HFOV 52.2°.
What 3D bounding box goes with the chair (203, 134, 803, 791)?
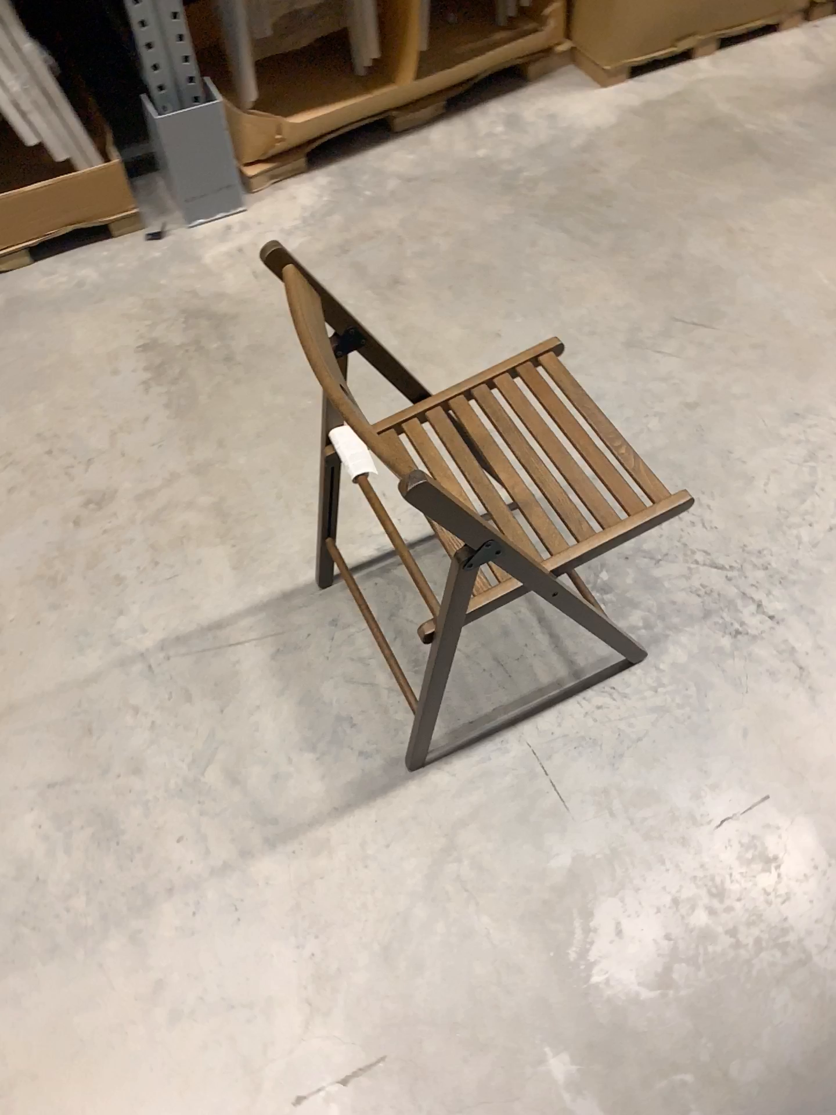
[{"bbox_3d":[0.083,-0.096,1.246,0.500,0.698,0.481,-23,58,-13],"label":"chair"}]
